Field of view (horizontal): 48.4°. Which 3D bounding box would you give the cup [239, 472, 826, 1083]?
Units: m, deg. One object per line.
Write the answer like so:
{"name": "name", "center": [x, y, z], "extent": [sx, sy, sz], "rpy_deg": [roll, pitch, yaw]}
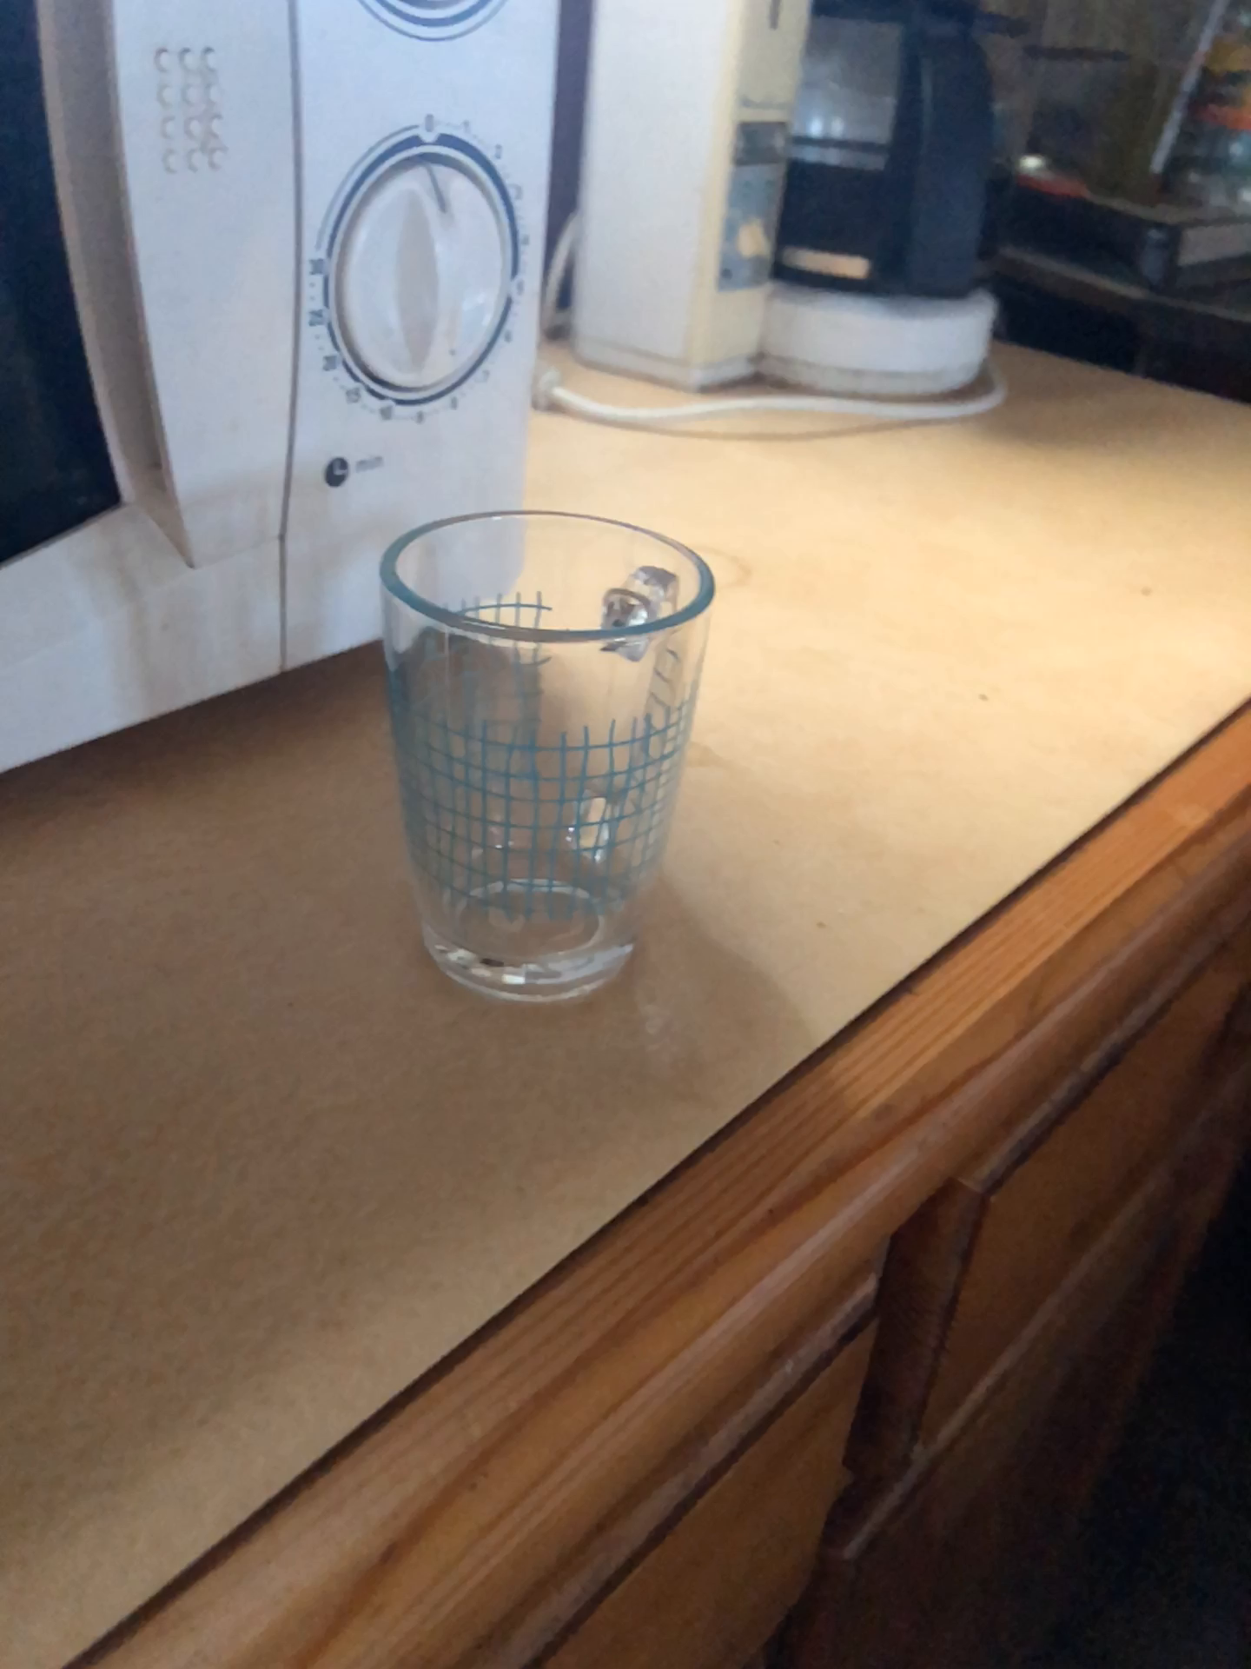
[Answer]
{"name": "cup", "center": [-0.016, -0.016, 0.251], "extent": [0.060, 0.070, 0.080], "rpy_deg": [26, 37, 29]}
